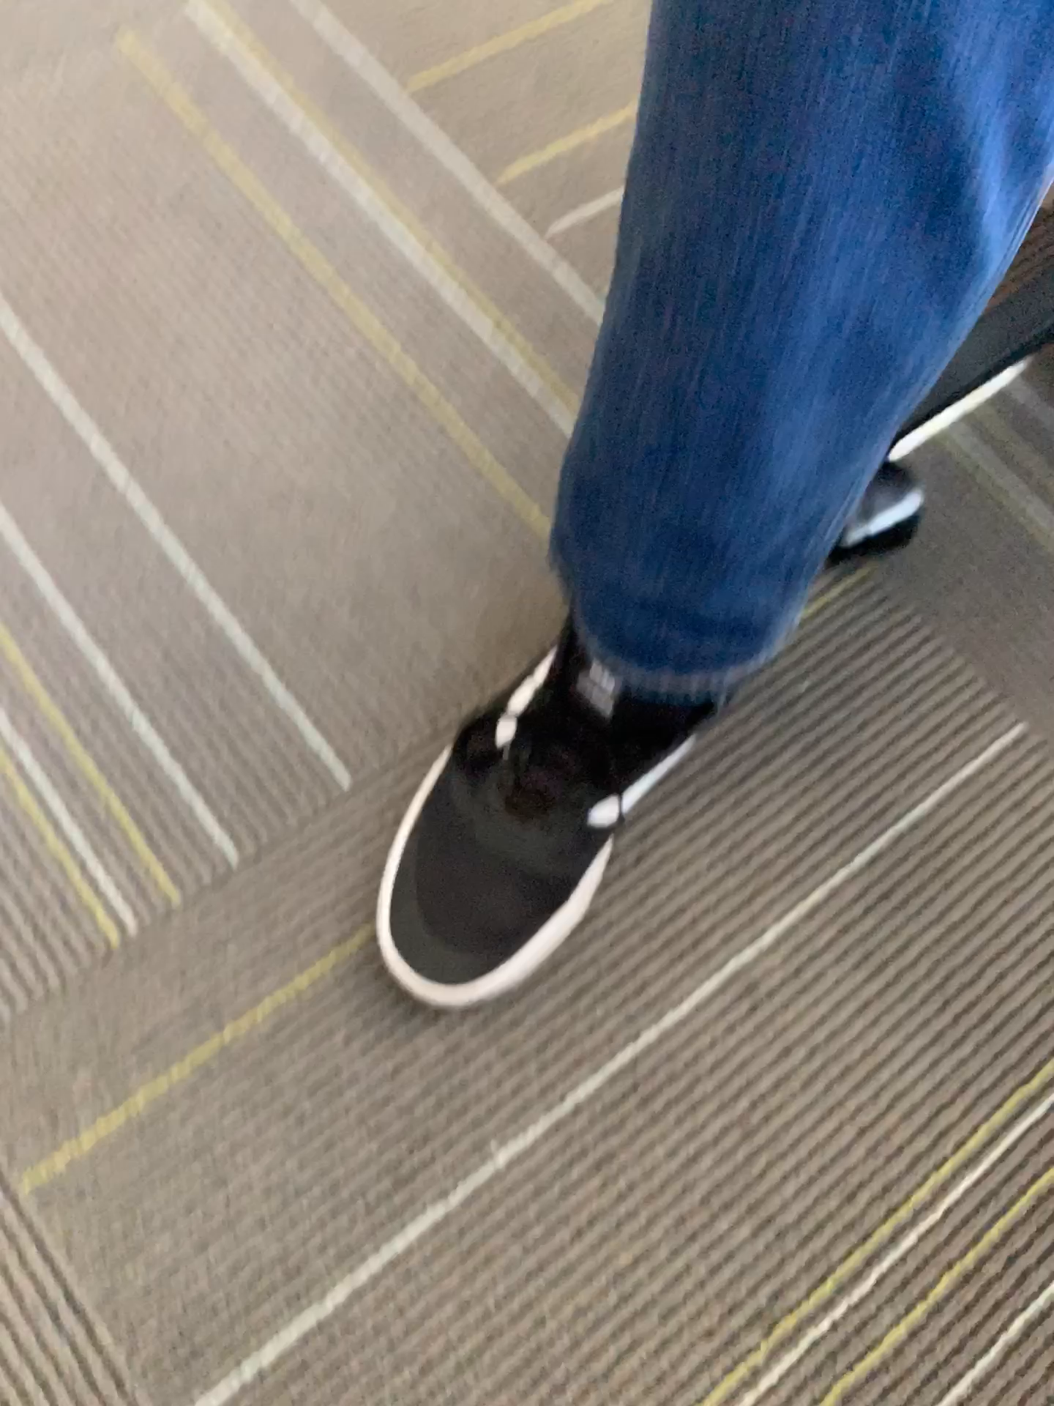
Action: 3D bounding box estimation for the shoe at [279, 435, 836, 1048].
[{"bbox_3d":[0.023,0.020,0.618,0.120,0.120,0.320,36,71,10],"label":"shoe"}]
